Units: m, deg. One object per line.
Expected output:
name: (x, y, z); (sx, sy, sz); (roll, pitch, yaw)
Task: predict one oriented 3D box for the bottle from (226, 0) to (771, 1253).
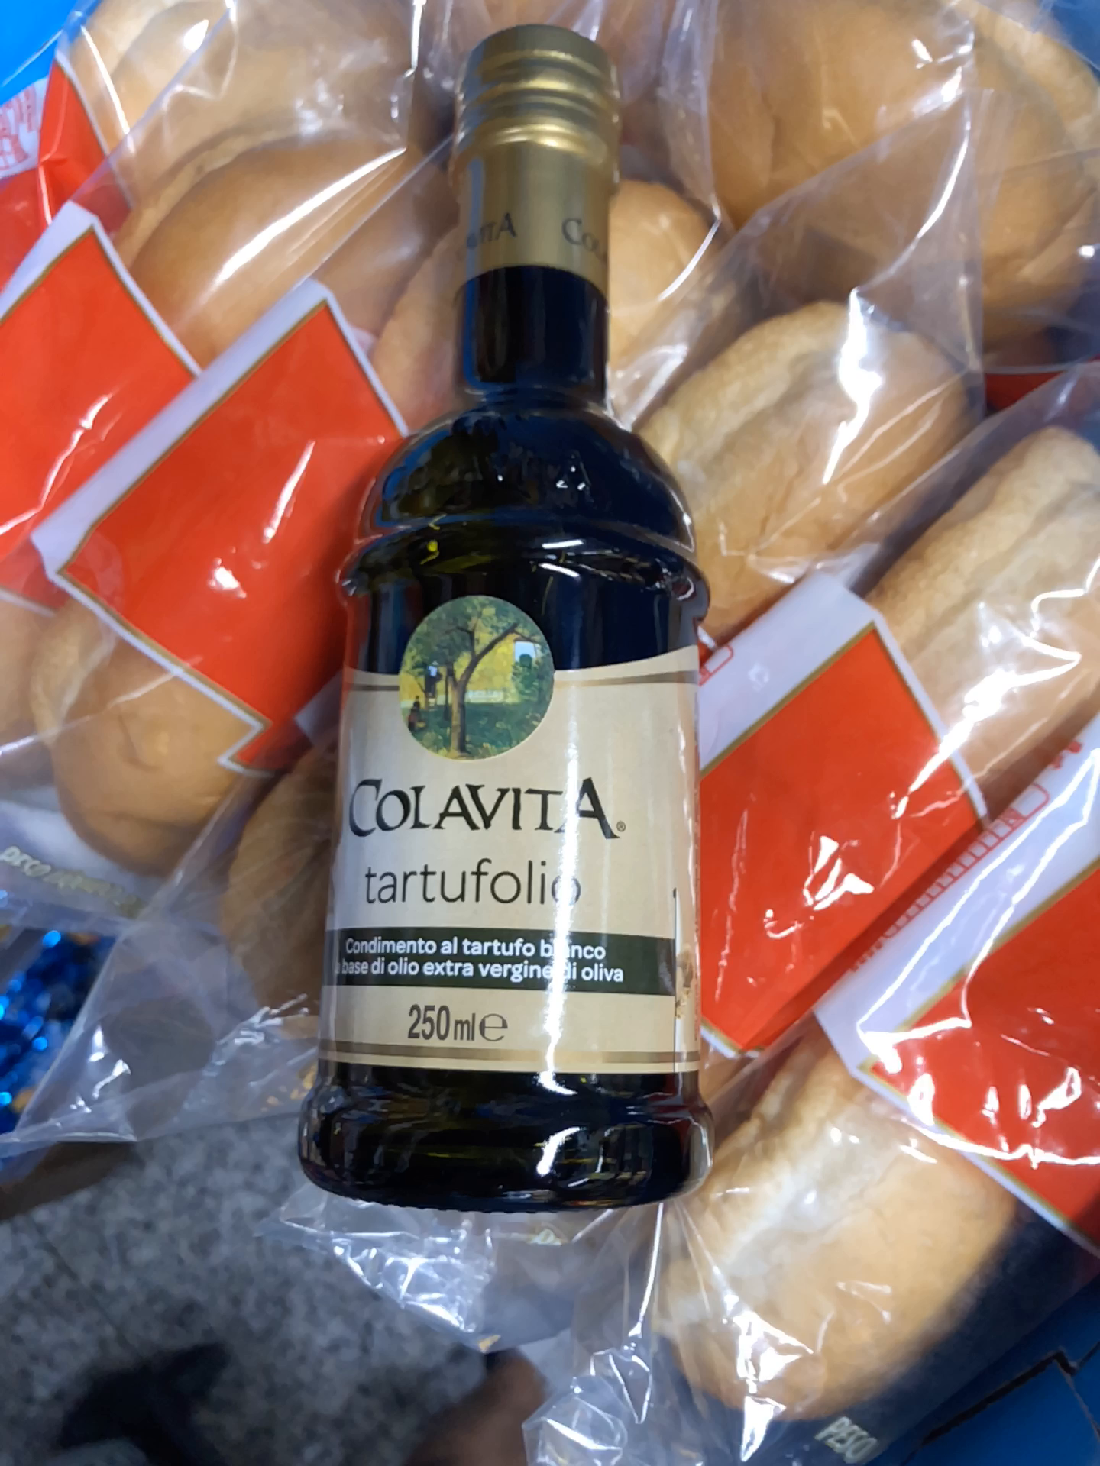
bottle: (-0.004, -0.034, 0.207); (0.070, 0.060, 0.210); (-2, 81, 14)
